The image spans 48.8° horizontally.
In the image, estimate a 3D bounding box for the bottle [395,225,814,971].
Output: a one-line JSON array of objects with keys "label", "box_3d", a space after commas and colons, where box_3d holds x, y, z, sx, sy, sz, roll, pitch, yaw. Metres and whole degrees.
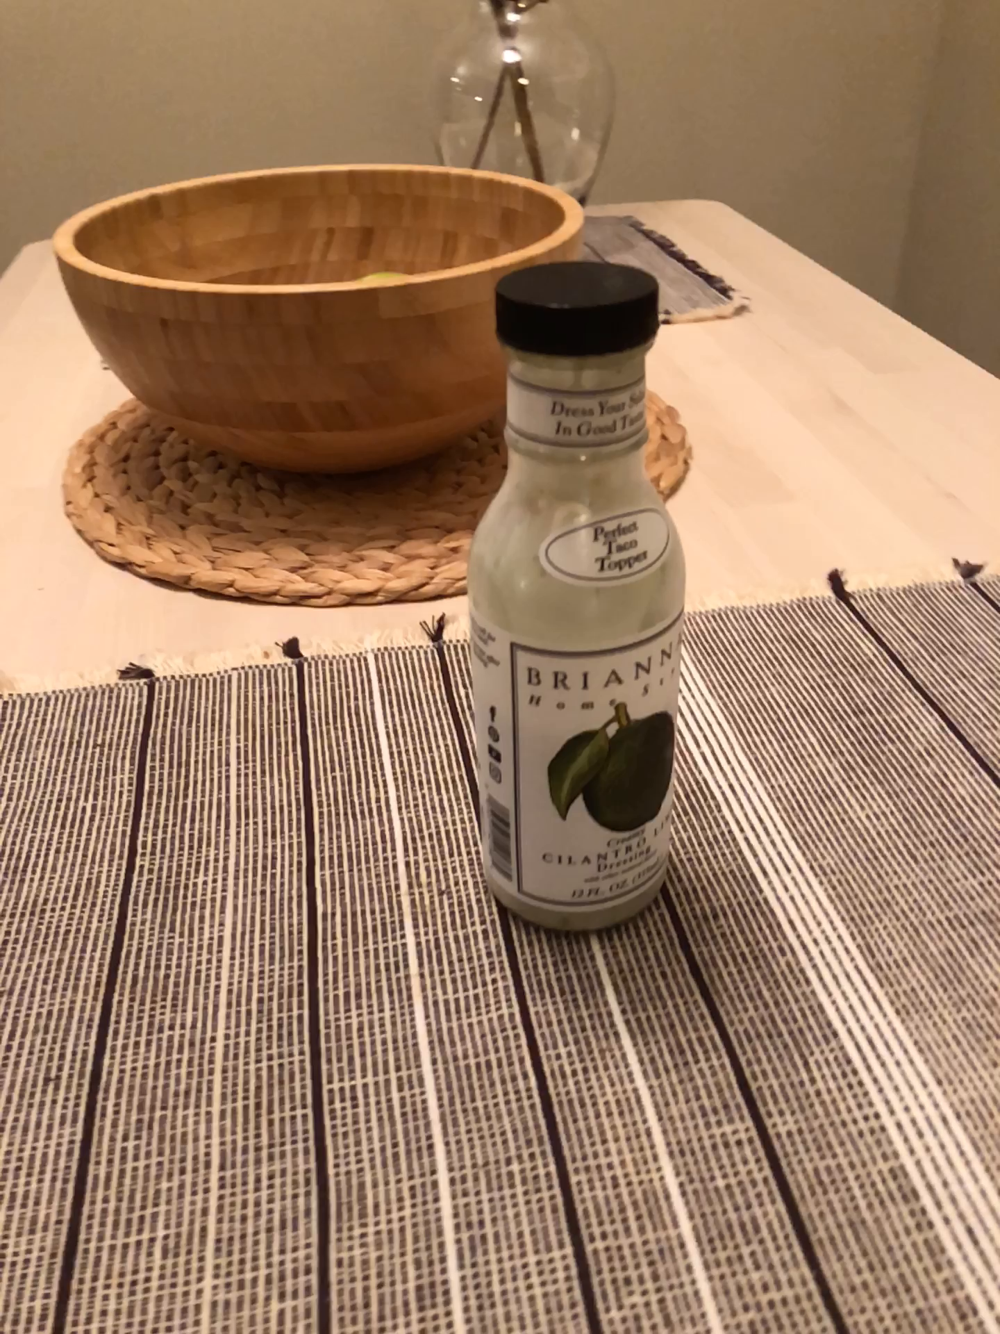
[{"label": "bottle", "box_3d": [0.024, -0.015, 0.309, 0.075, 0.186, 0.070, -1, 33, 1]}]
